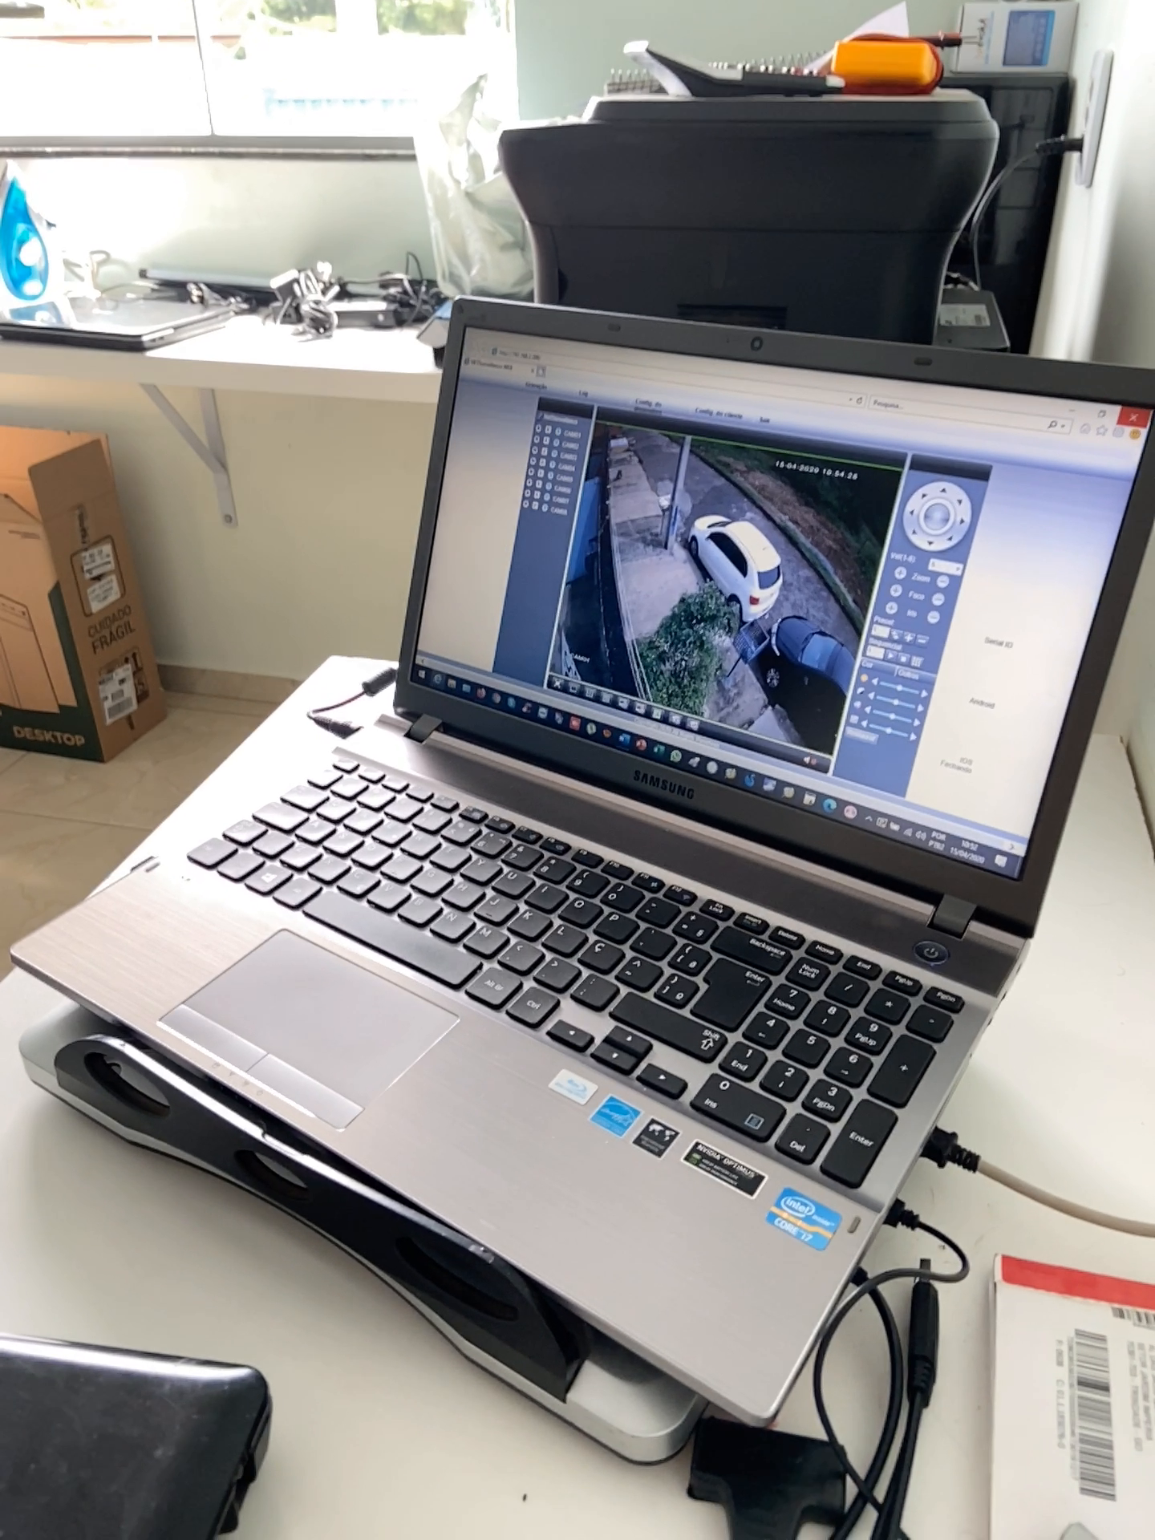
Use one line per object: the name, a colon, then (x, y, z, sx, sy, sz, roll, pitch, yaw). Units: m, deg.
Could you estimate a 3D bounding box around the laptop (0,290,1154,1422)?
laptop: (-0.002, -0.038, 0.485, 0.367, 0.213, 0.336, 19, 37, 30)
